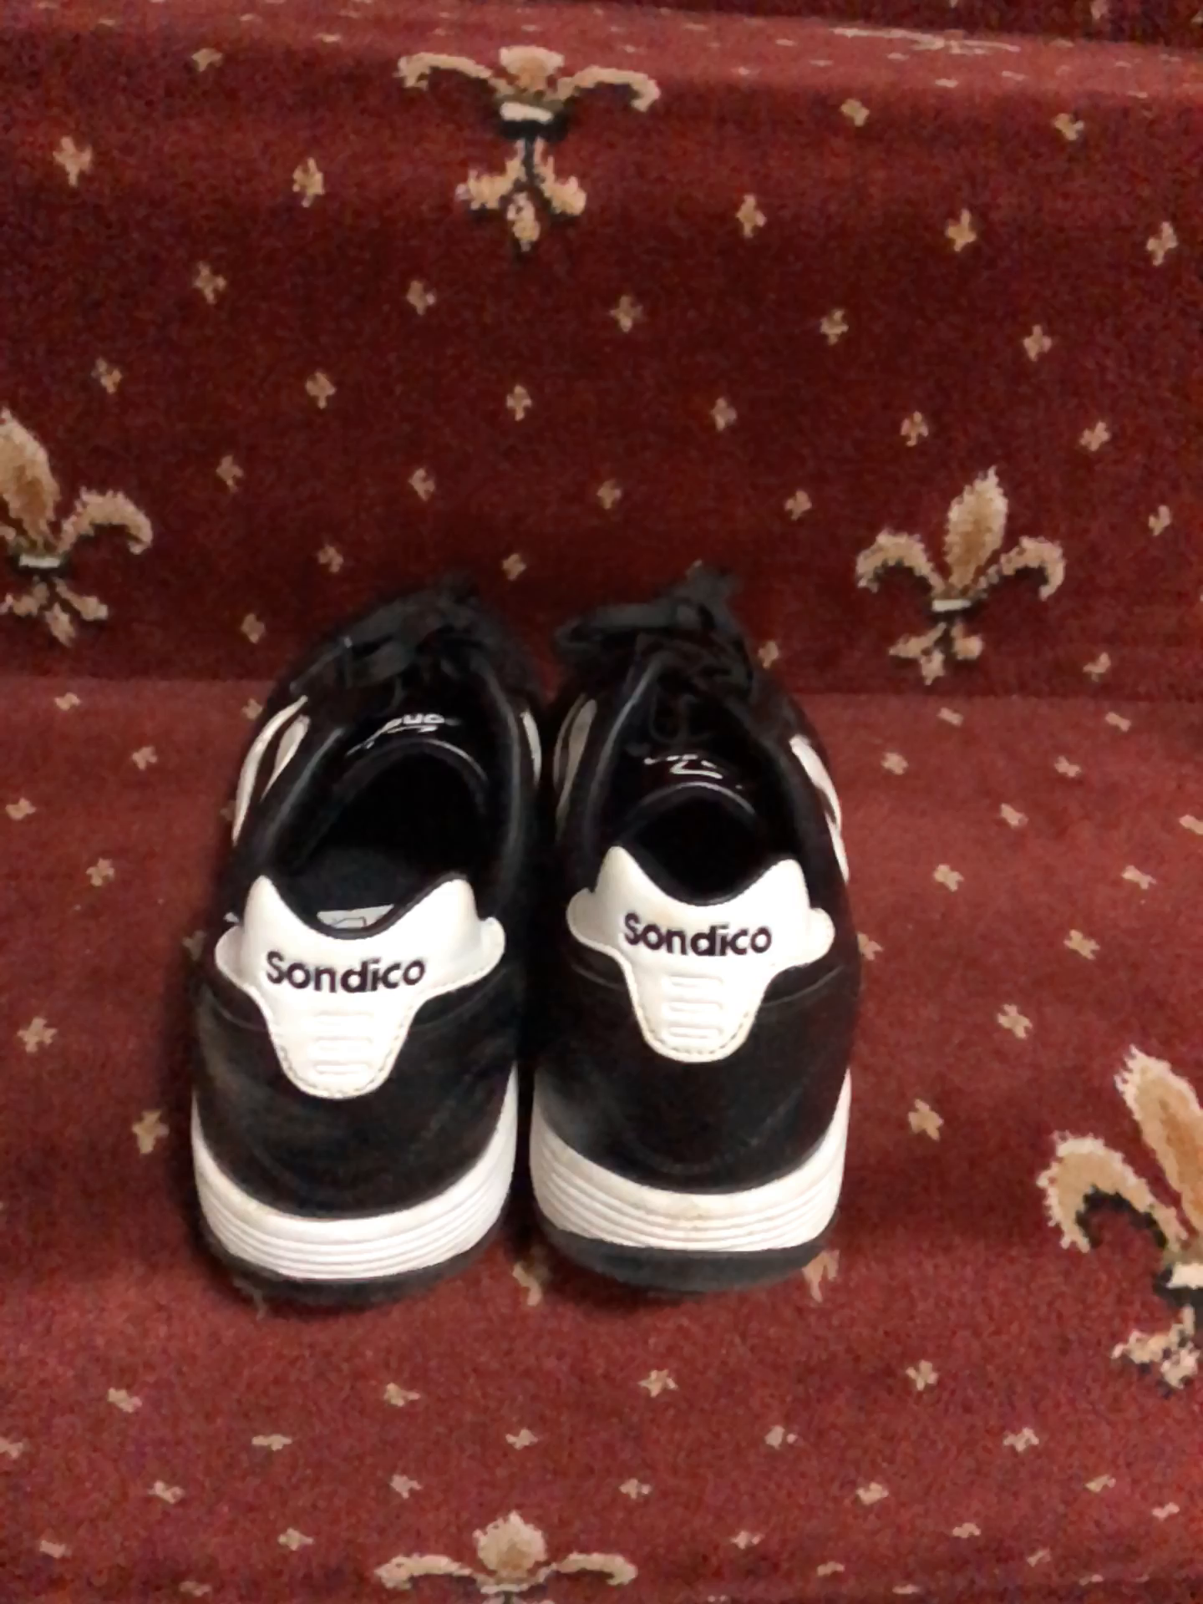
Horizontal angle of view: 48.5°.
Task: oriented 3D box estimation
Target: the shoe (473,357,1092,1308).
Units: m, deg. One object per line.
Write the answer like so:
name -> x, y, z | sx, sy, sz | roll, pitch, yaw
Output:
shoe -> 0.026, -0.025, 0.370 | 0.100, 0.099, 0.302 | 3, 35, -3

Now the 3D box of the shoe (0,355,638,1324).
shoe -> -0.058, -0.023, 0.363 | 0.100, 0.099, 0.302 | 1, 35, -6
